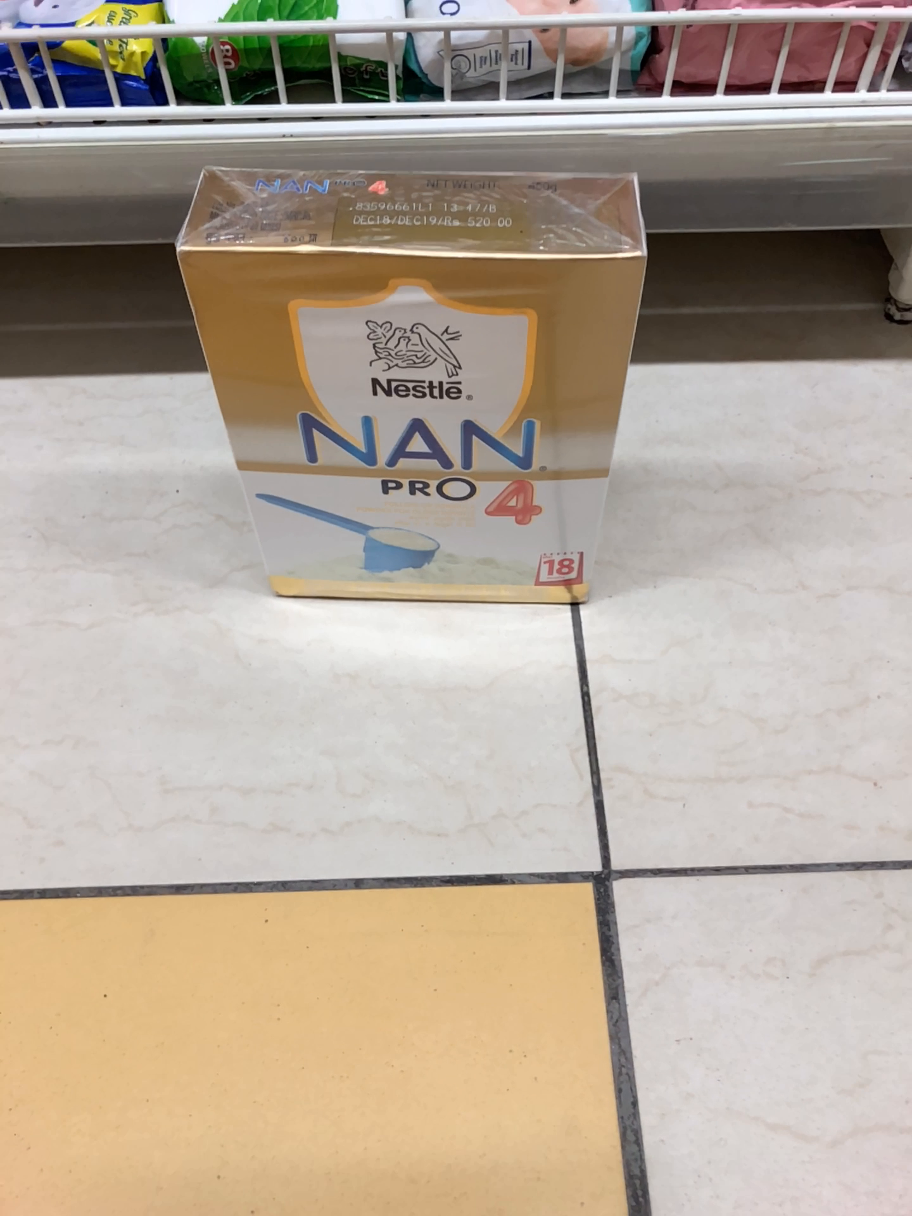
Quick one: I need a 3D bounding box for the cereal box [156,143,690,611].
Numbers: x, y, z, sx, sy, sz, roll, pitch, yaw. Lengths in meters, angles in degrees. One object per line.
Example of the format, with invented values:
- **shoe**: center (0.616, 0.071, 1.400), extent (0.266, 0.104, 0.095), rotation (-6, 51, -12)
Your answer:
- **cereal box**: center (-0.010, -0.076, 0.394), extent (0.160, 0.189, 0.050), rotation (1, 55, 0)
